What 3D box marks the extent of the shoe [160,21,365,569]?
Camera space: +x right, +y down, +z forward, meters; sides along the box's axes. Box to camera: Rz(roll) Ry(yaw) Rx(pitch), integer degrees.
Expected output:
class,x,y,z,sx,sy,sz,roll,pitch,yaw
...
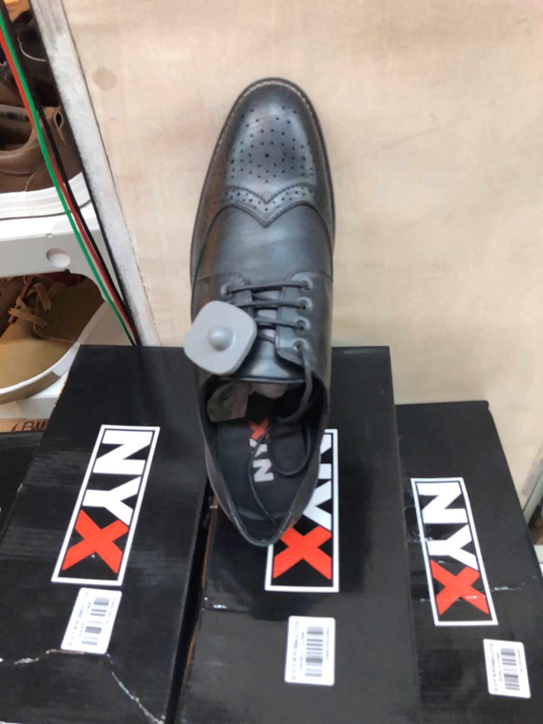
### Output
class,x,y,z,sx,sy,sz,roll,pitch,yaw
shoe,-0.005,-0.037,0.380,0.106,0.297,0.107,2,5,3
